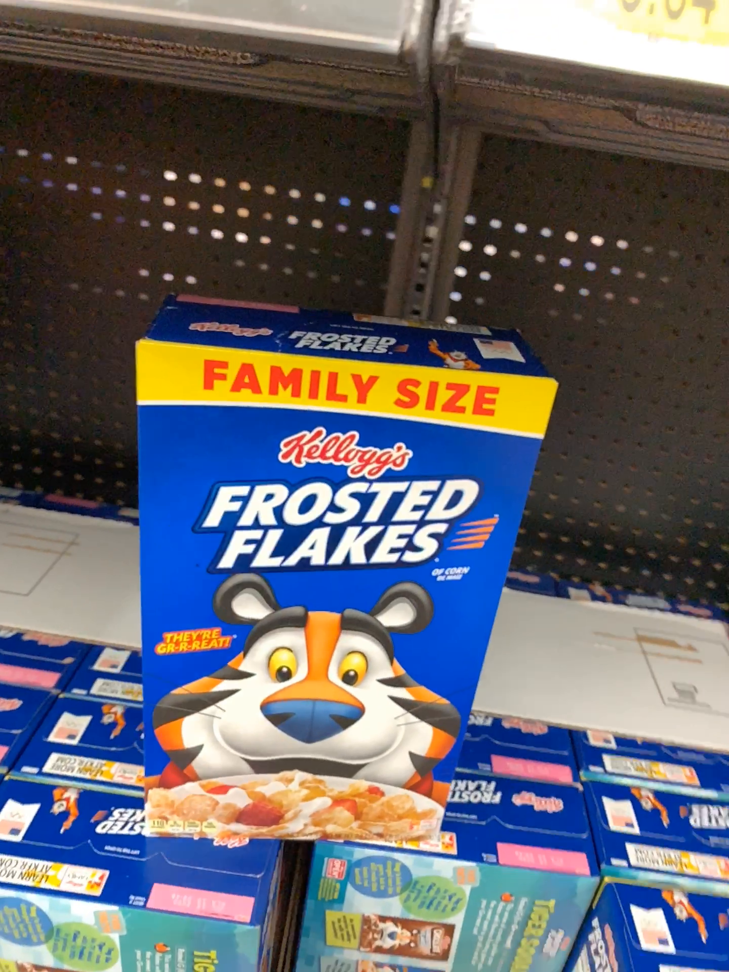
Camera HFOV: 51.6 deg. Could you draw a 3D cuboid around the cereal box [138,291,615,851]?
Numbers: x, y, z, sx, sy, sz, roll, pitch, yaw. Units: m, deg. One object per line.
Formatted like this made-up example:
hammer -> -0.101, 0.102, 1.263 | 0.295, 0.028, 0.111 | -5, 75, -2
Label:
cereal box -> -0.014, 0.068, 0.438 | 0.210, 0.318, 0.080 | 6, 28, -6
